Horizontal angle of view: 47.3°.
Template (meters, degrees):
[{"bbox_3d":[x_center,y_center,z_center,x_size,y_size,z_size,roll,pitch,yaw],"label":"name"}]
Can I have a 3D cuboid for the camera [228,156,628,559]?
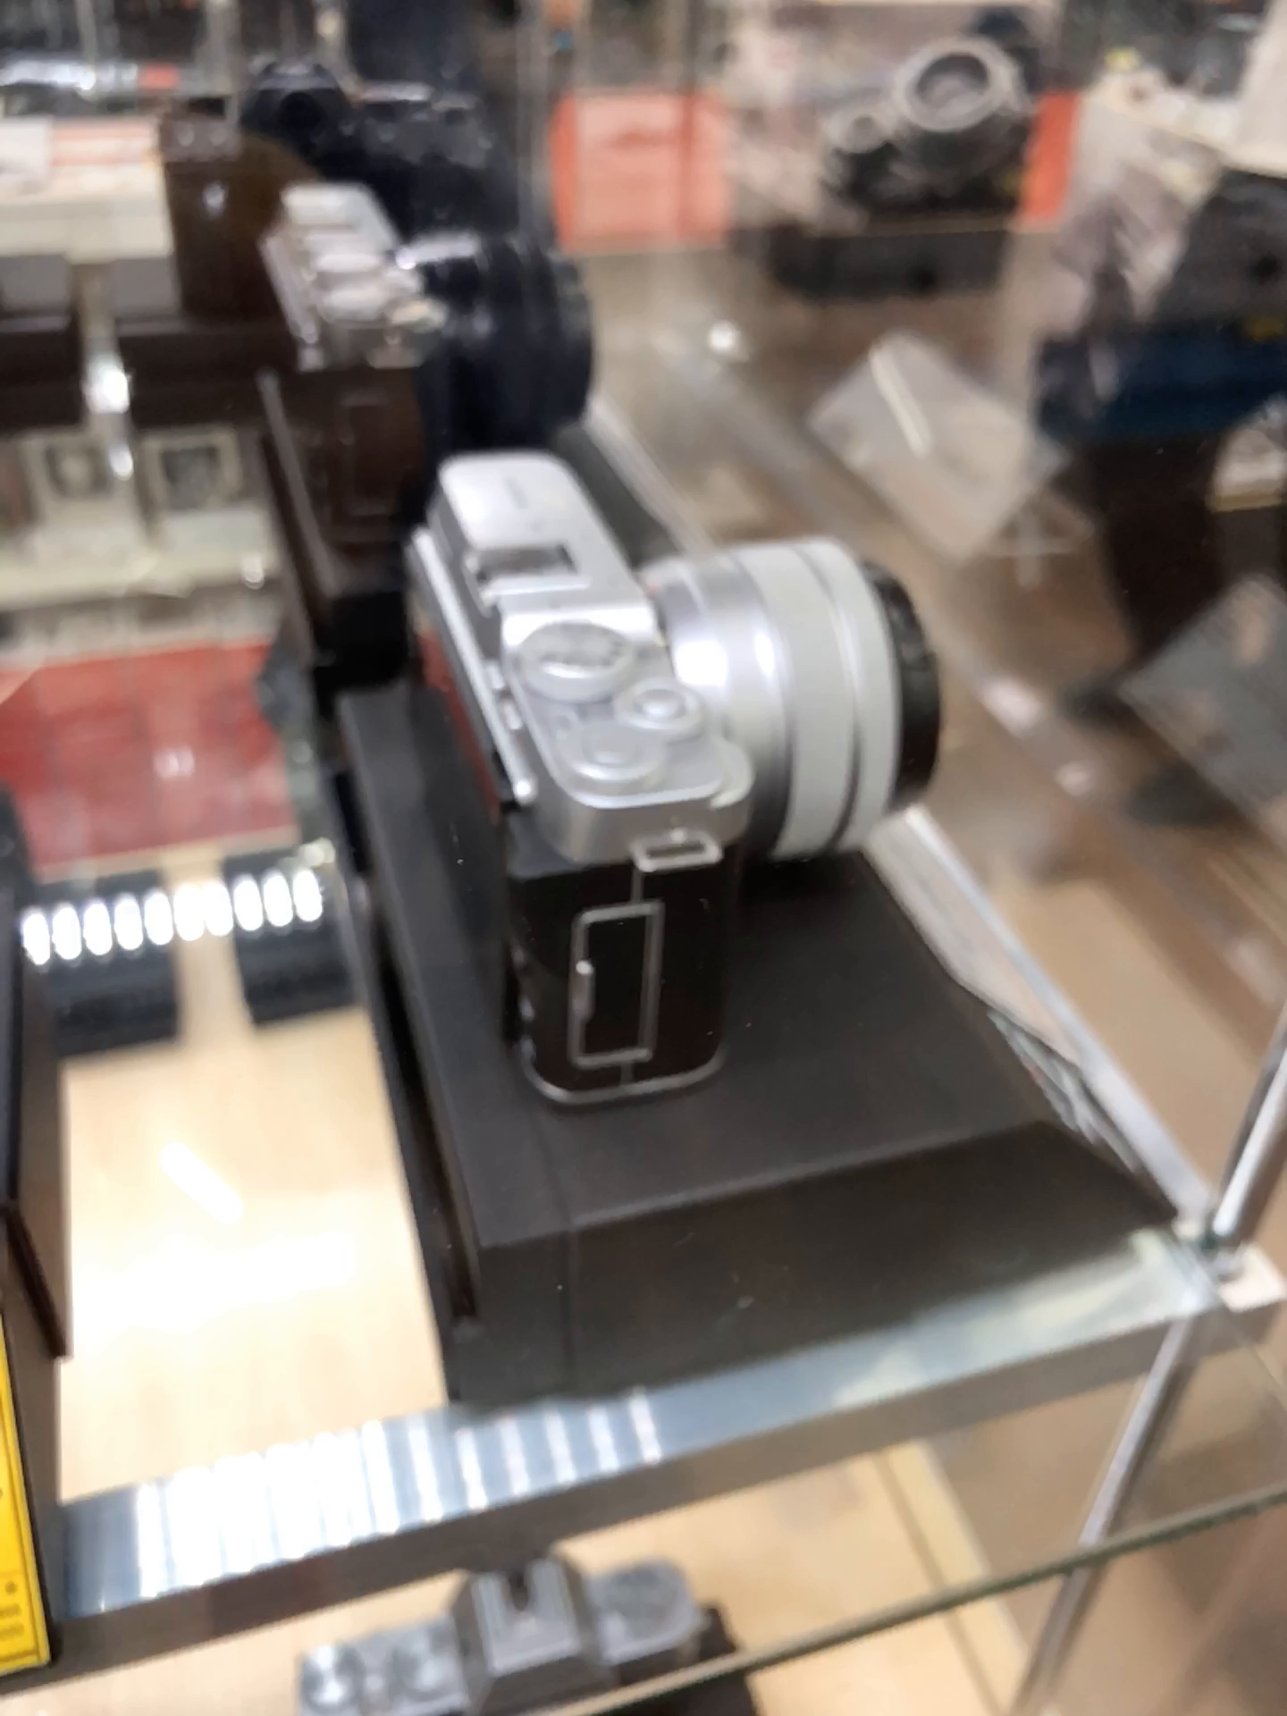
[{"bbox_3d":[-0.069,-0.159,0.453,0.096,0.080,0.116,-9,39,-15],"label":"camera"}]

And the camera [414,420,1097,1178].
[{"bbox_3d":[0.010,-0.020,0.284,0.084,0.080,0.126,-8,38,-14],"label":"camera"}]
